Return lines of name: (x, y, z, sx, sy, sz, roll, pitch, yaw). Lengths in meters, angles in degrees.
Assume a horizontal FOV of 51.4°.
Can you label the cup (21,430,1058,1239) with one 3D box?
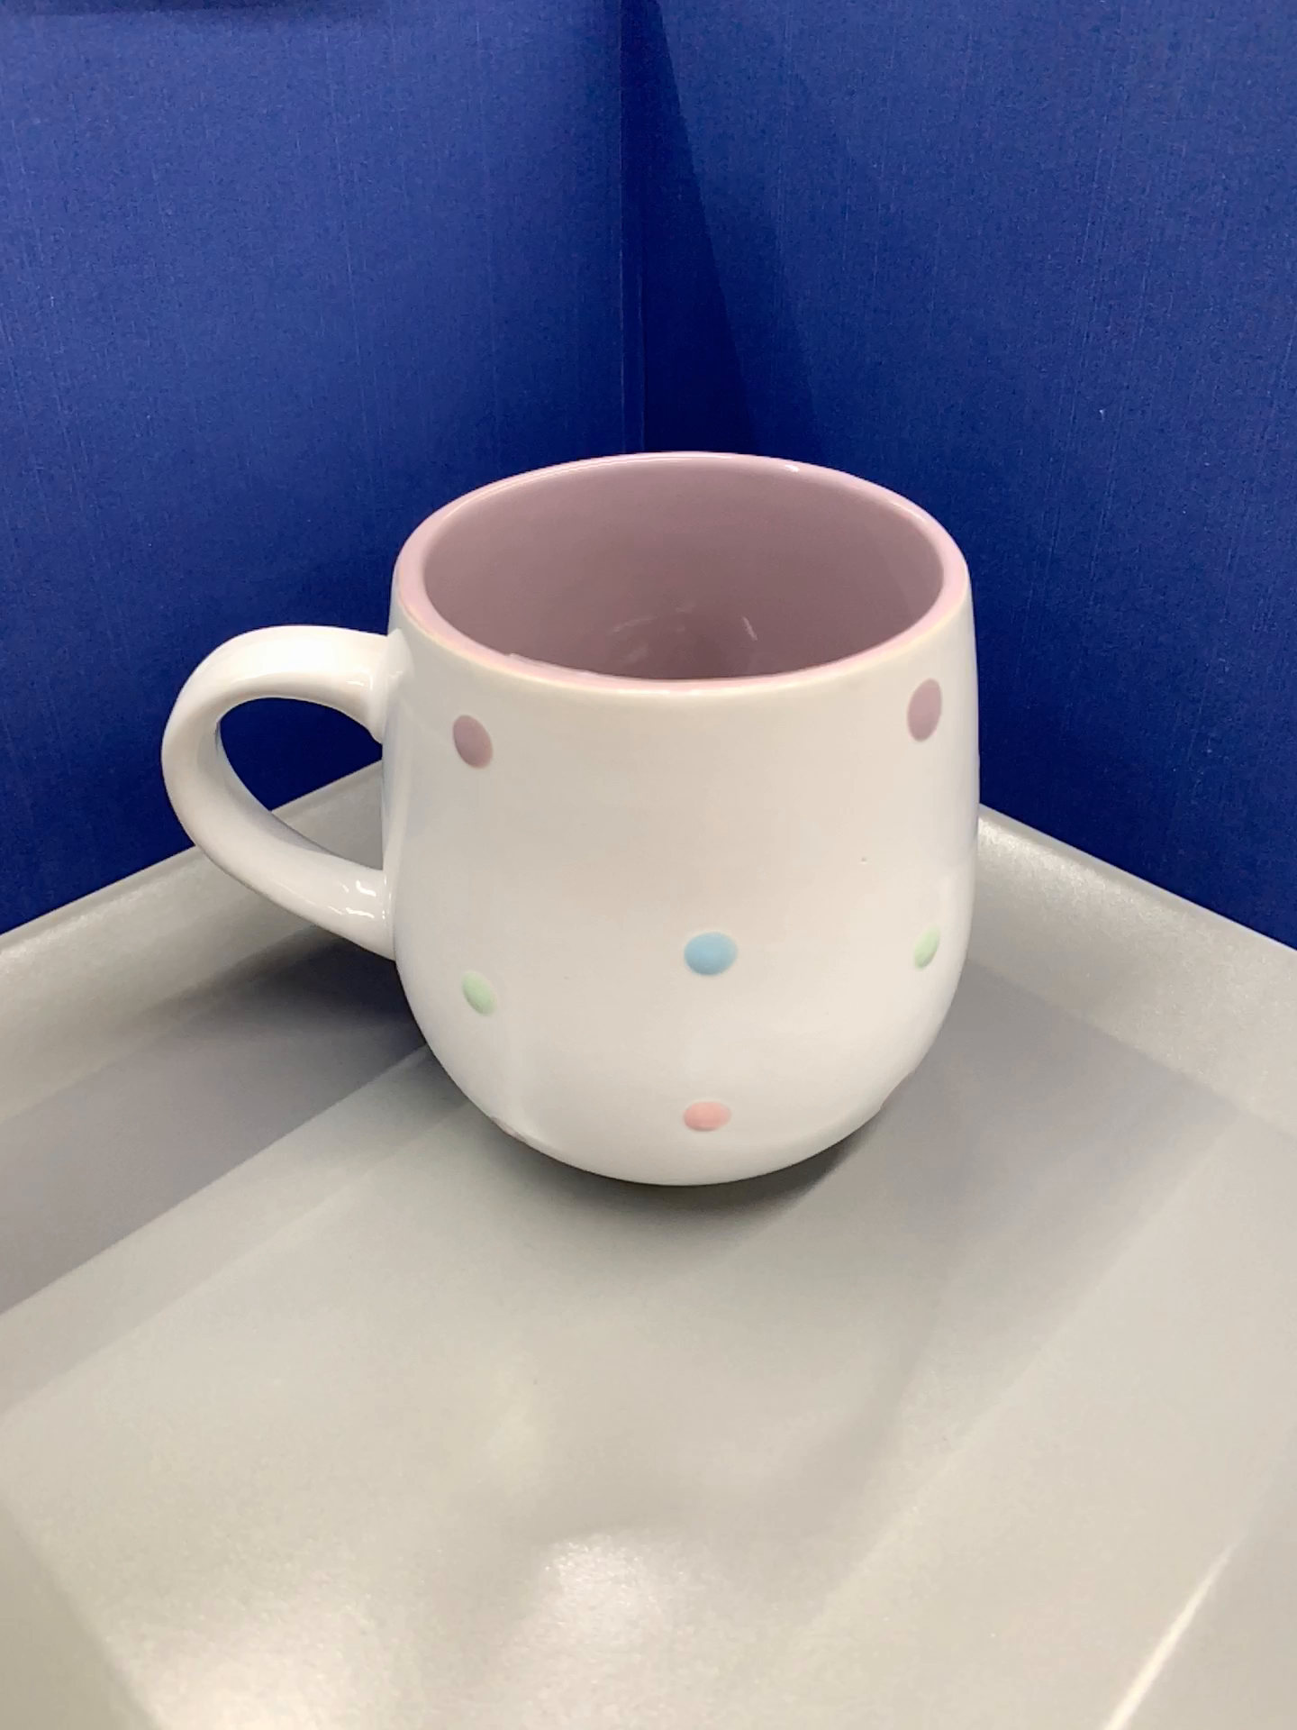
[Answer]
cup: (-0.009, -0.012, 0.229, 0.130, 0.088, 0.097, 5, 34, 7)
